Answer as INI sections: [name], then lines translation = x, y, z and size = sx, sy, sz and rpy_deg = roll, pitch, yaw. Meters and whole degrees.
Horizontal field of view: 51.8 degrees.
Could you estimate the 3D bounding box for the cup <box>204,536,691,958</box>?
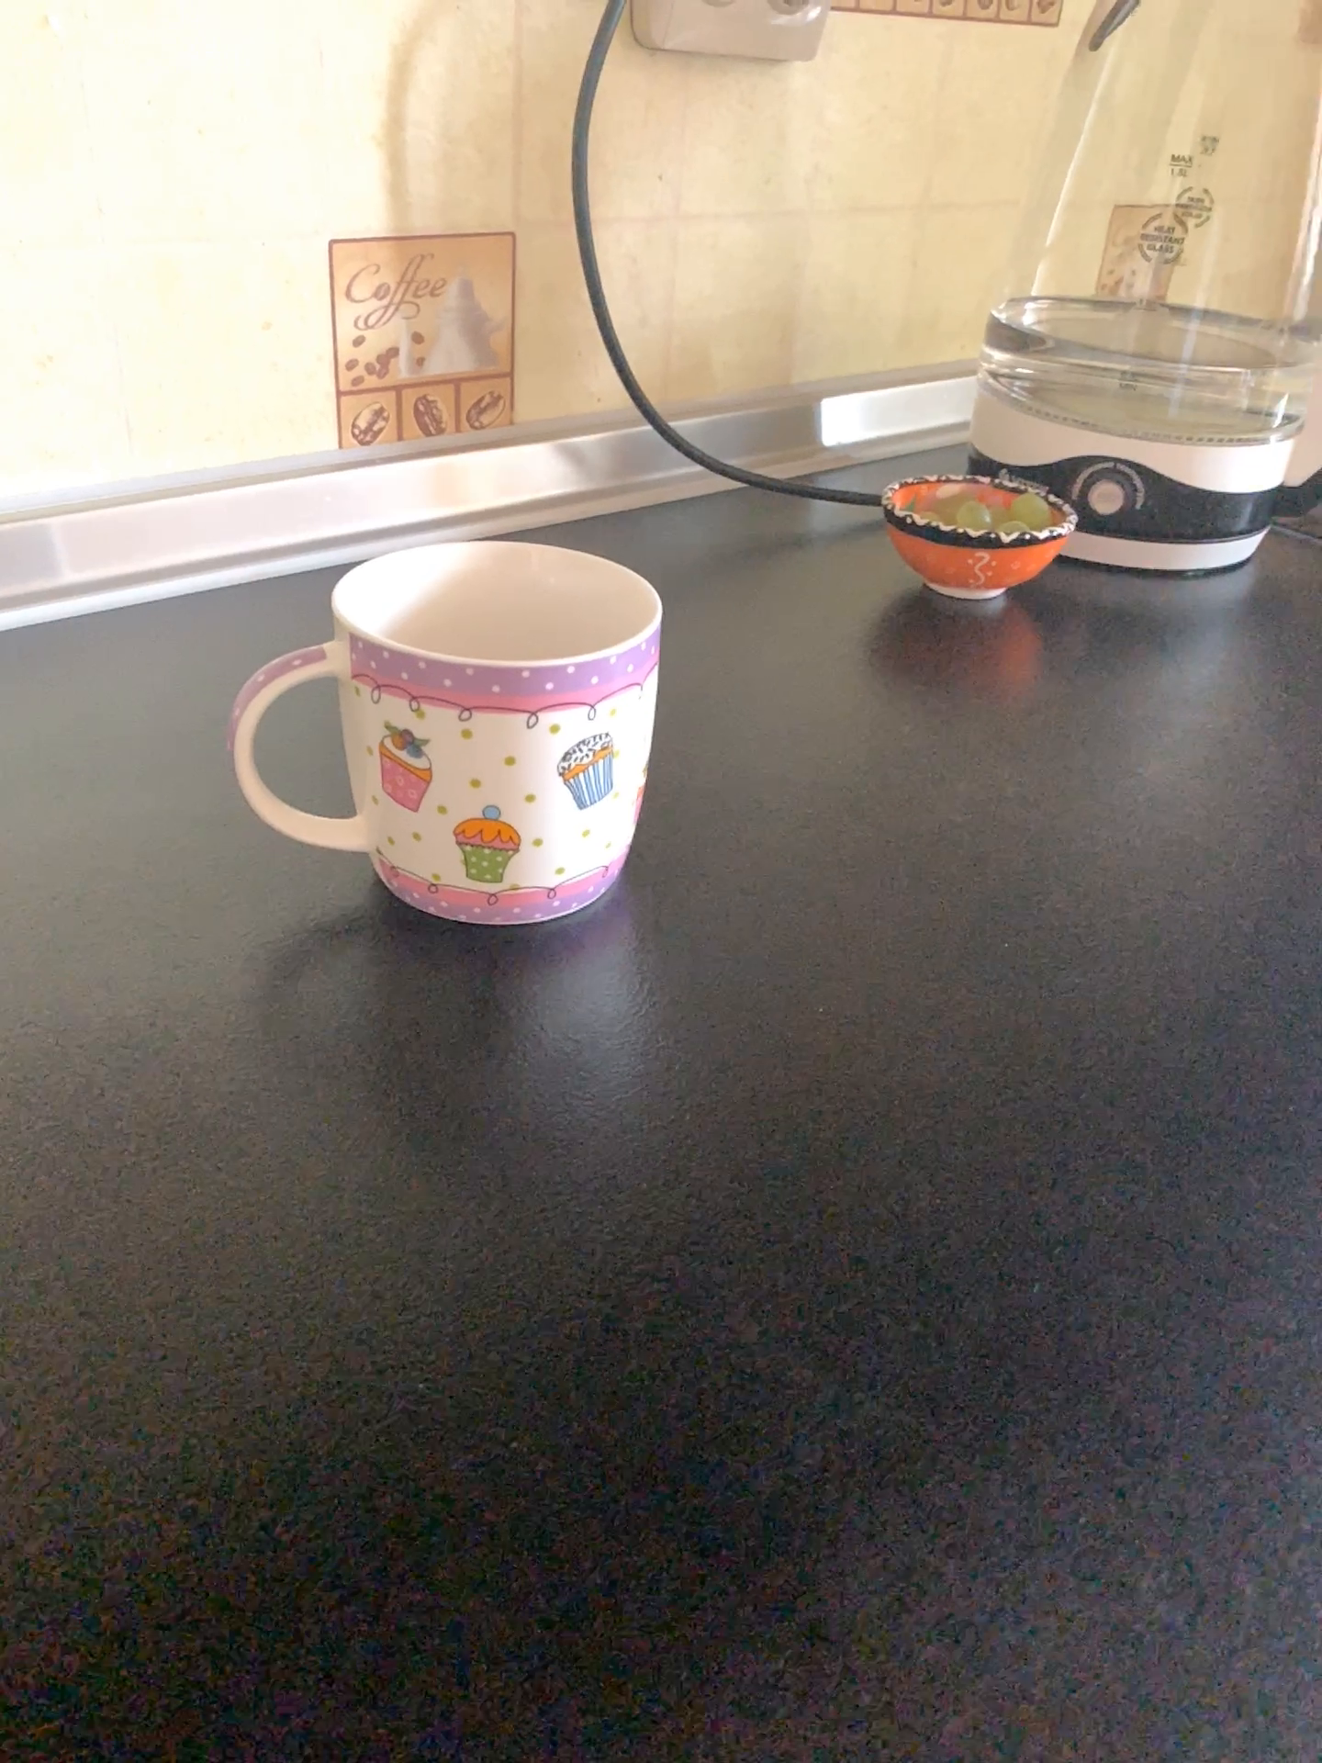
[cup]
translation = -0.059, -0.040, 0.363
size = 0.110, 0.080, 0.080
rpy_deg = -4, 33, -14
